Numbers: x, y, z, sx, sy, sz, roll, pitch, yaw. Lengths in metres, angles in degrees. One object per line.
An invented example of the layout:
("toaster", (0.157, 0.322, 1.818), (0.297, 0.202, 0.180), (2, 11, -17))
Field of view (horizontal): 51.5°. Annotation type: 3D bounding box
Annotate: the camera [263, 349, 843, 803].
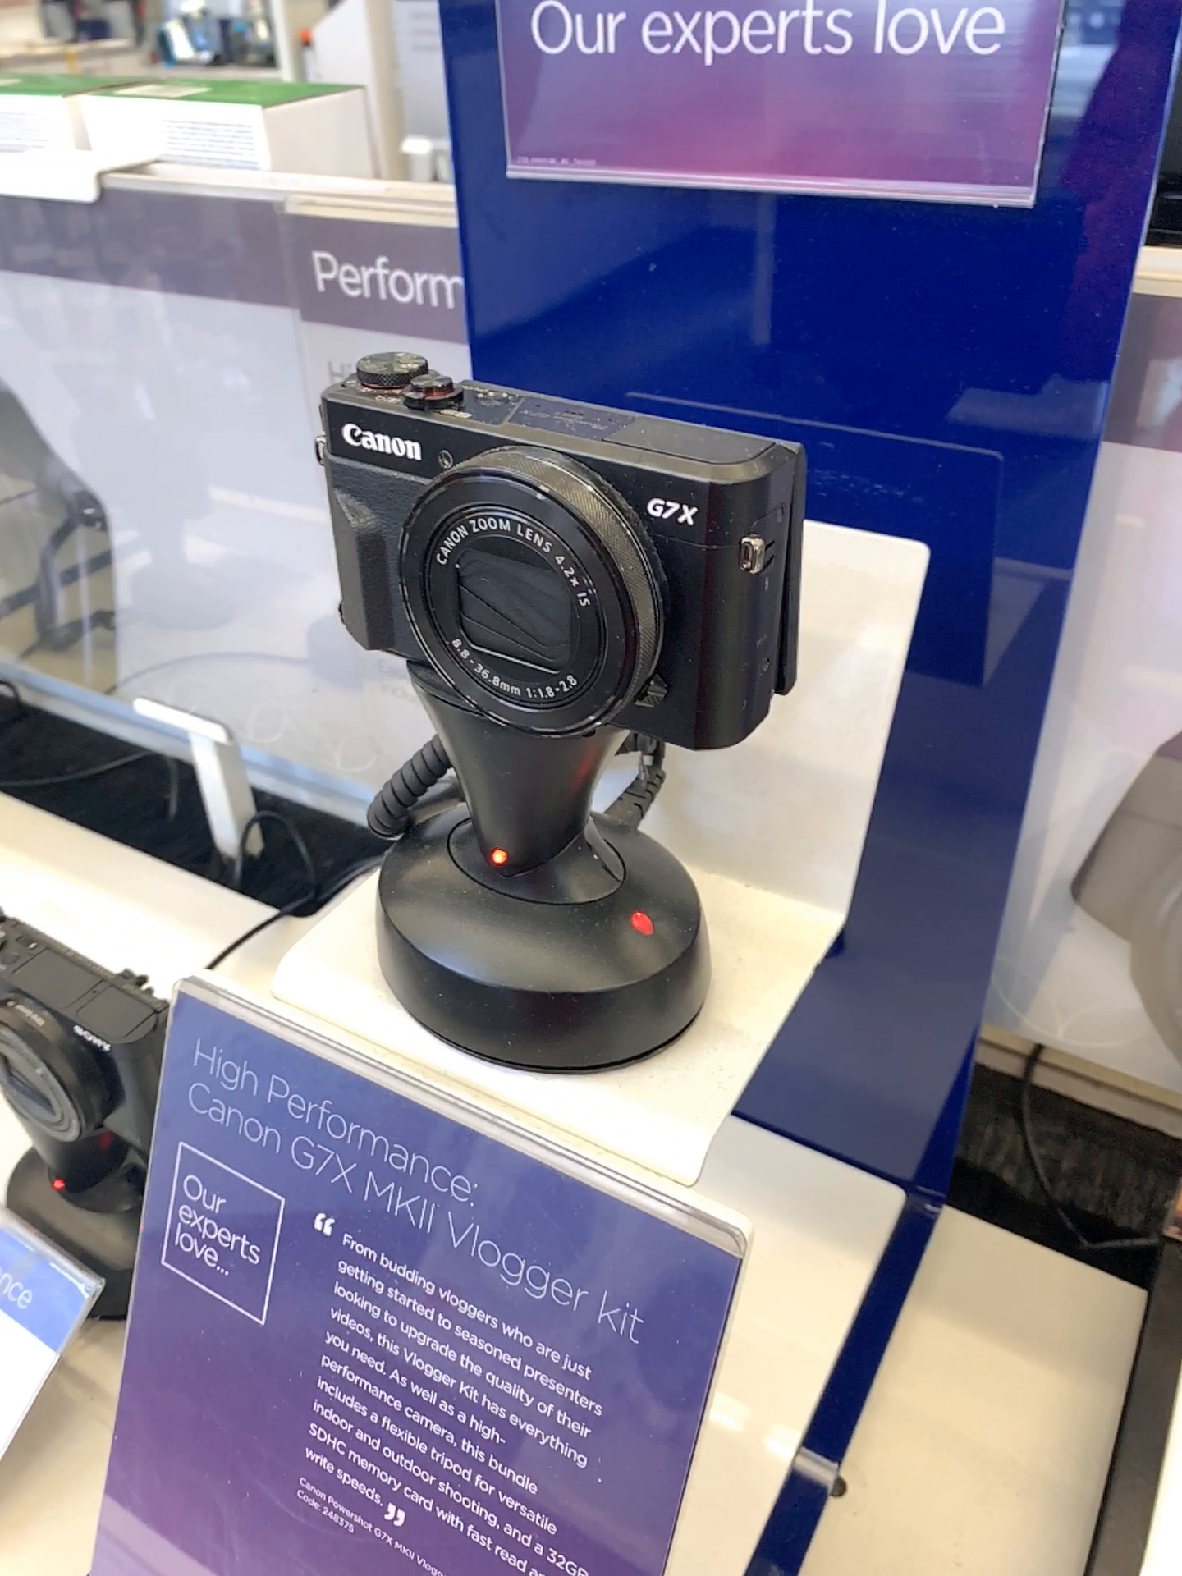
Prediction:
("camera", (-0.010, -0.047, 0.248), (0.108, 0.059, 0.038), (20, 38, 28))
